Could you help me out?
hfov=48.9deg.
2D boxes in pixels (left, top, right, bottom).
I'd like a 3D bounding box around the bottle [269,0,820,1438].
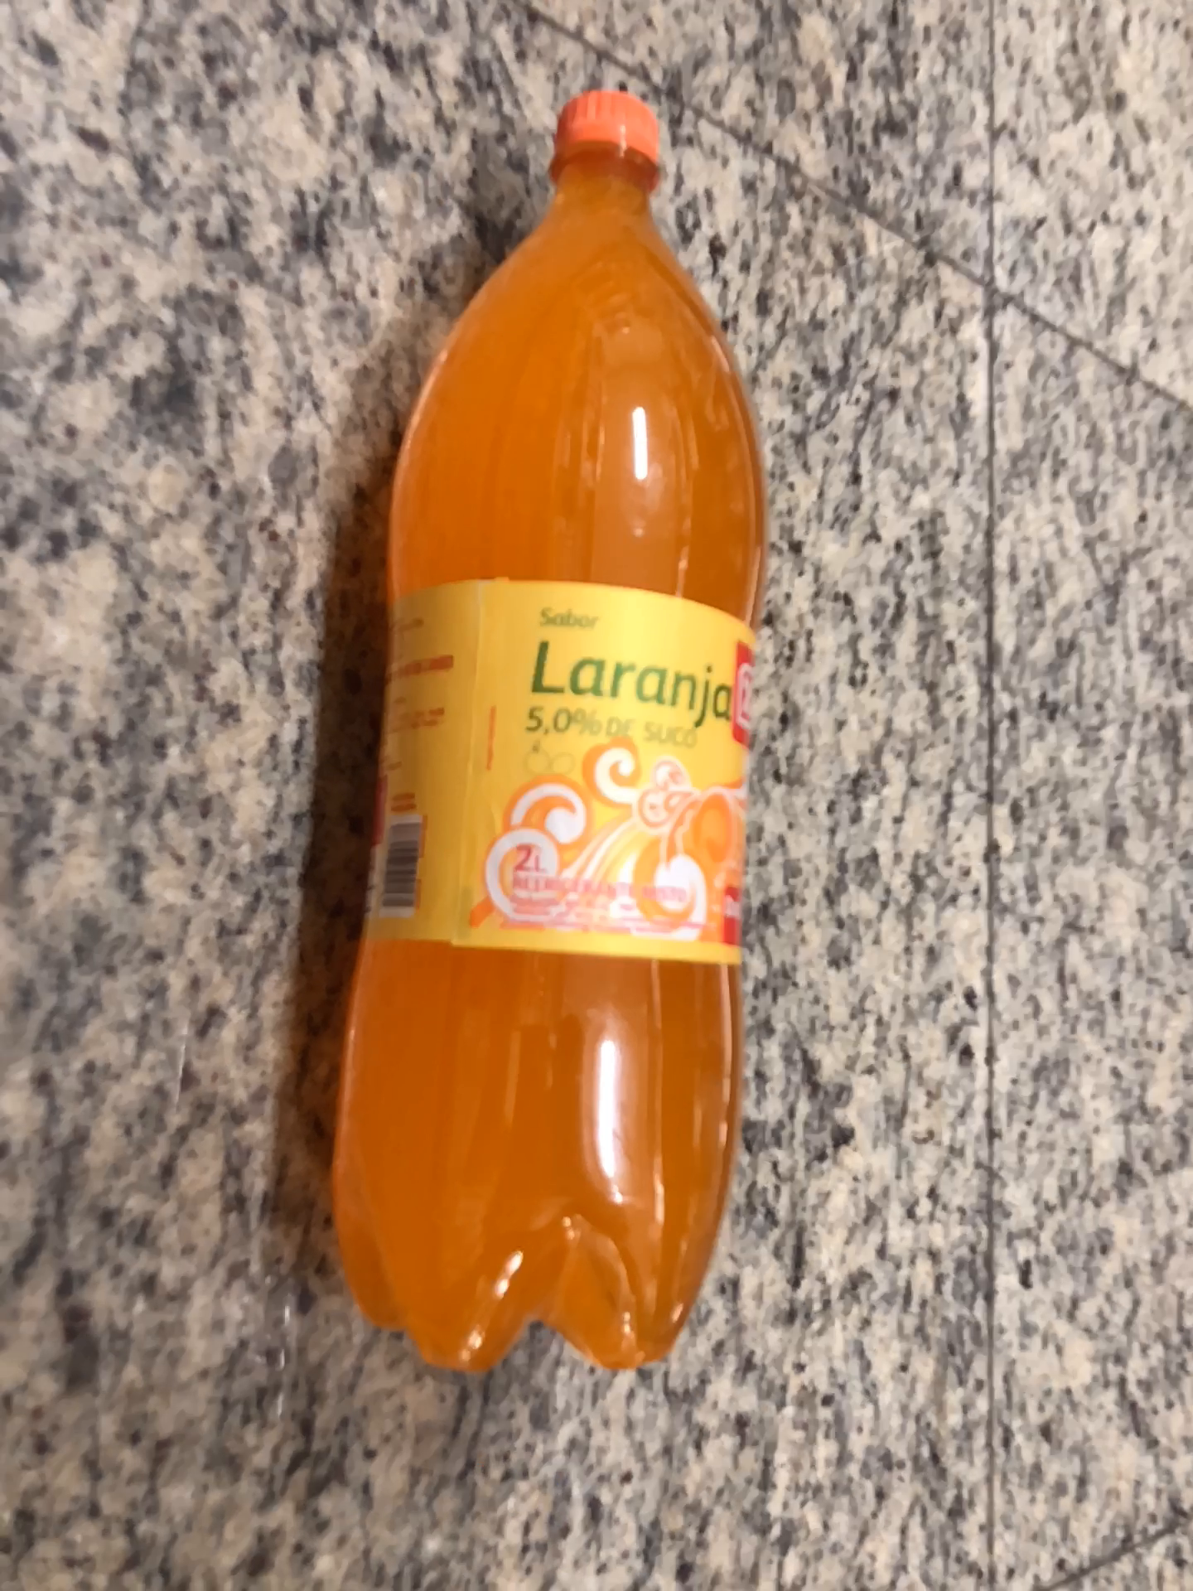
[{"bbox_3d":[-0.006,-0.033,0.356,0.121,0.070,0.350,8,79,-39],"label":"bottle"}]
